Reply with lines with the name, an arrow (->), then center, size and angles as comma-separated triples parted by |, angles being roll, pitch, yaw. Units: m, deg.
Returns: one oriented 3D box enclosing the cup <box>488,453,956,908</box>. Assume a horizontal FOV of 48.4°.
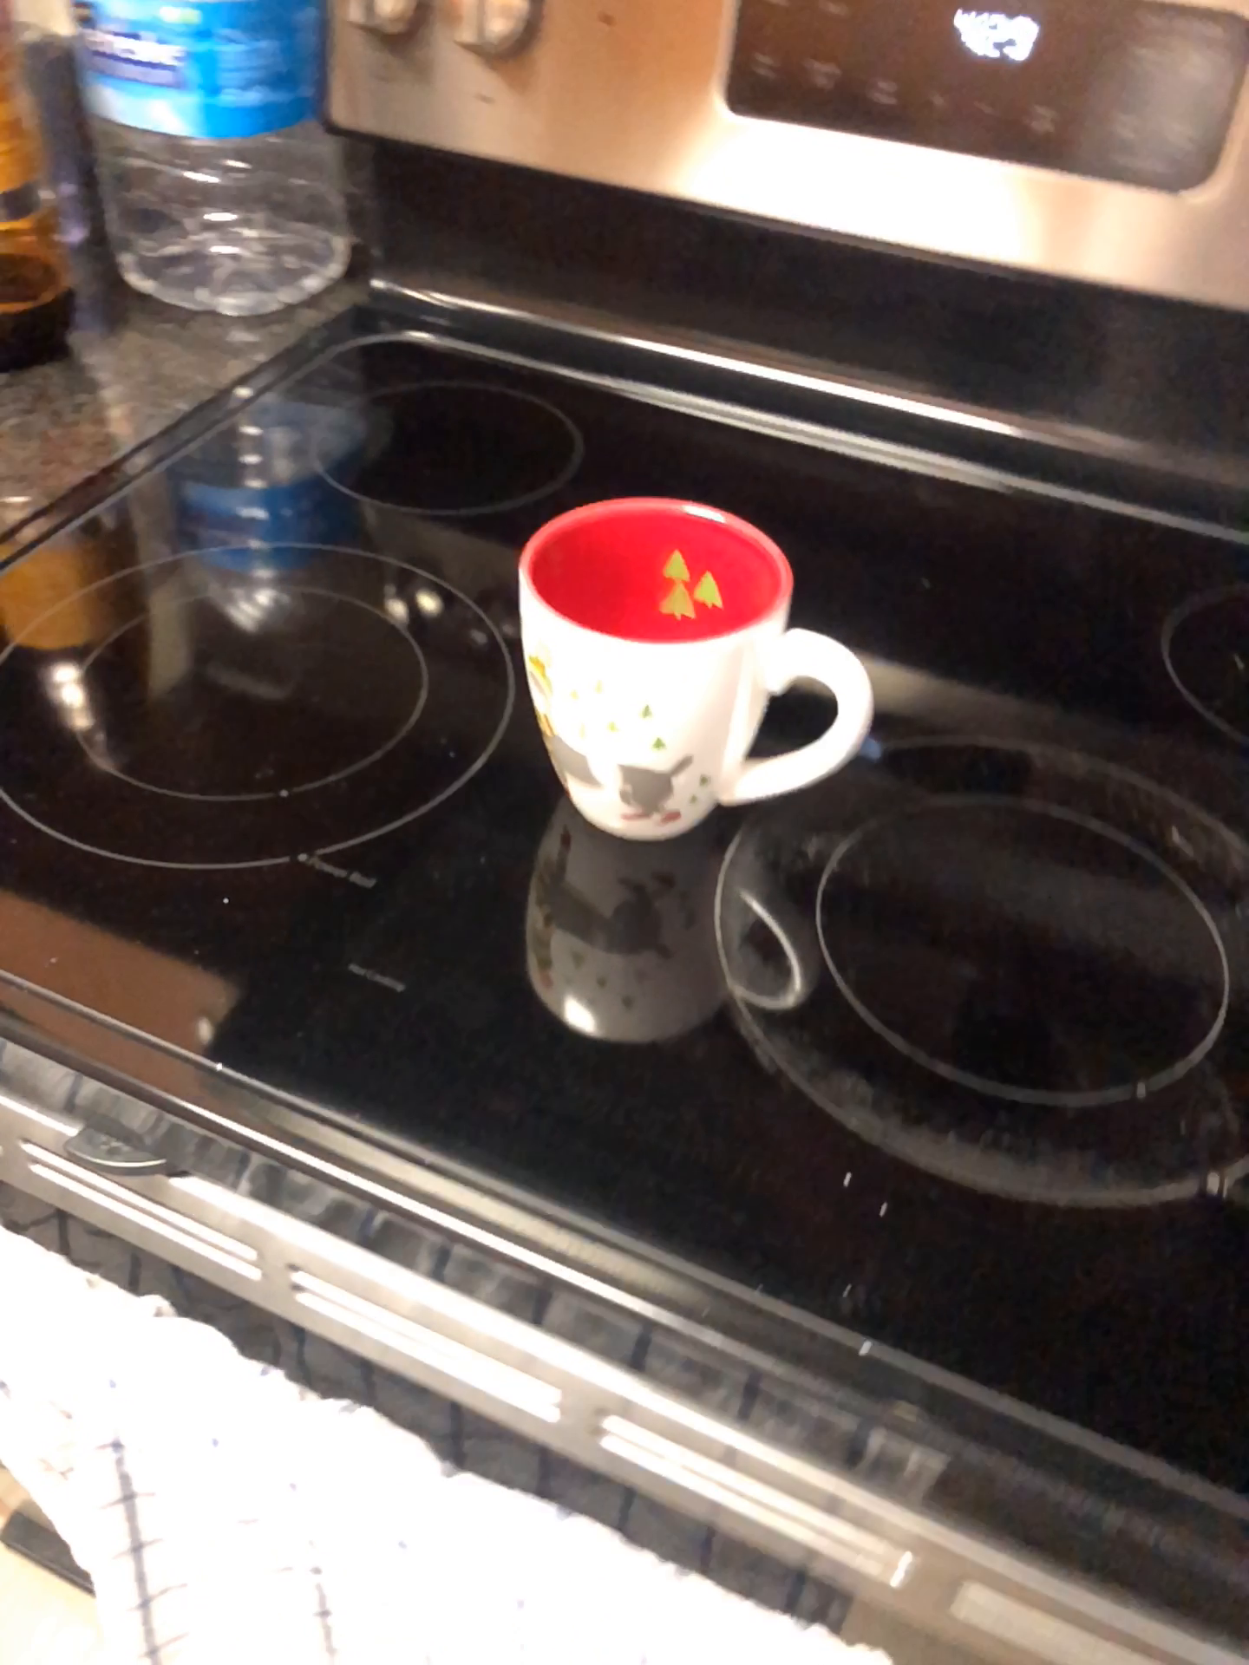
cup -> 0.035, -0.061, 0.526 | 0.140, 0.100, 0.100 | 18, 45, 15
